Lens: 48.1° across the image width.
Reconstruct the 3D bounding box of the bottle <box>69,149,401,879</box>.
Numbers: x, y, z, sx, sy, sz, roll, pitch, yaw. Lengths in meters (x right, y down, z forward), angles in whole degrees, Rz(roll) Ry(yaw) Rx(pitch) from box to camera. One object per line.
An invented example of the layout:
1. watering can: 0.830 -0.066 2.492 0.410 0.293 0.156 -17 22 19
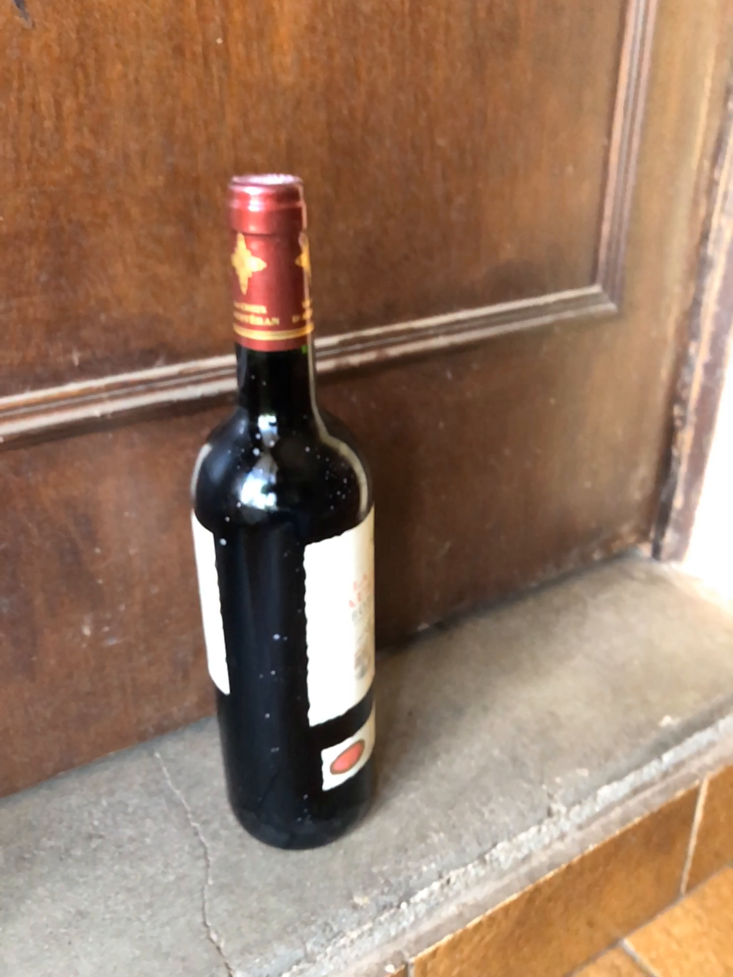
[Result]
1. bottle: -0.037 0.018 0.330 0.080 0.278 0.081 0 27 0
